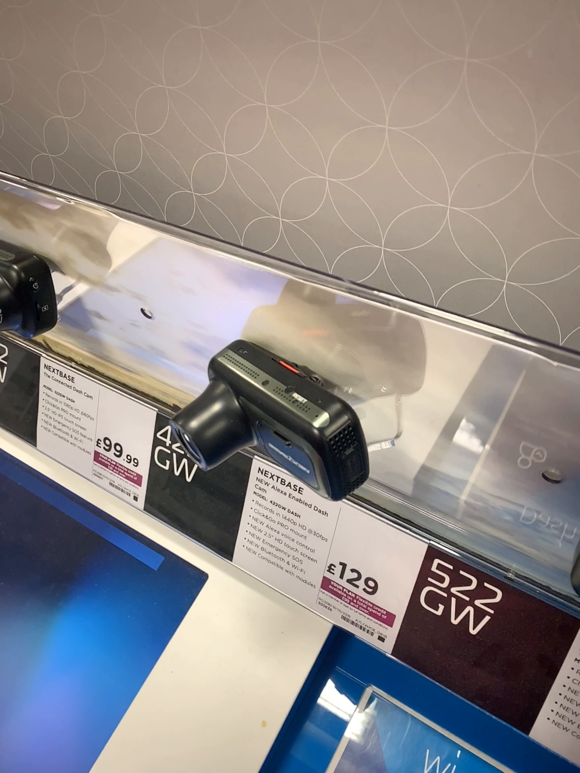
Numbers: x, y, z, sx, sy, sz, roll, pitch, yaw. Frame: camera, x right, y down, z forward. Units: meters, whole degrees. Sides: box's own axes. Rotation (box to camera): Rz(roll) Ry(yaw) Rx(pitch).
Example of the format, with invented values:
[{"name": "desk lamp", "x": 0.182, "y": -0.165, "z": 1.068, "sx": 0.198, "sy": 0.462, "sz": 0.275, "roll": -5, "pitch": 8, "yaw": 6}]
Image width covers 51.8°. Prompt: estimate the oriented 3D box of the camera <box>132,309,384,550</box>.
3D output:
[{"name": "camera", "x": -0.015, "y": 0.012, "z": 0.239, "sx": 0.050, "sy": 0.040, "sz": 0.091, "roll": -35, "pitch": 43, "yaw": -23}]
